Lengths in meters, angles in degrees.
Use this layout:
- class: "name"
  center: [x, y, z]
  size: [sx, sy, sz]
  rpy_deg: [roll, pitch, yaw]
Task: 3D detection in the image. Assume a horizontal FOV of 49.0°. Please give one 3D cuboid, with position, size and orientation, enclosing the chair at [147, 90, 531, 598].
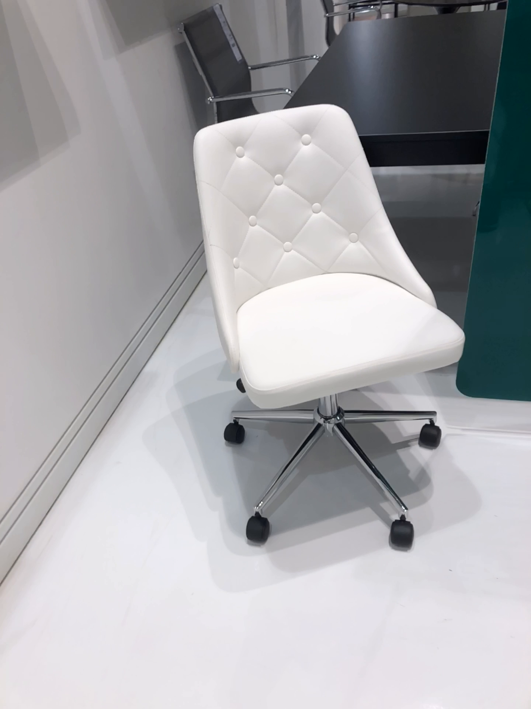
- class: "chair"
  center: [0.143, -0.048, 1.351]
  size: [0.600, 0.853, 0.645]
  rpy_deg: [-13, 36, -8]
